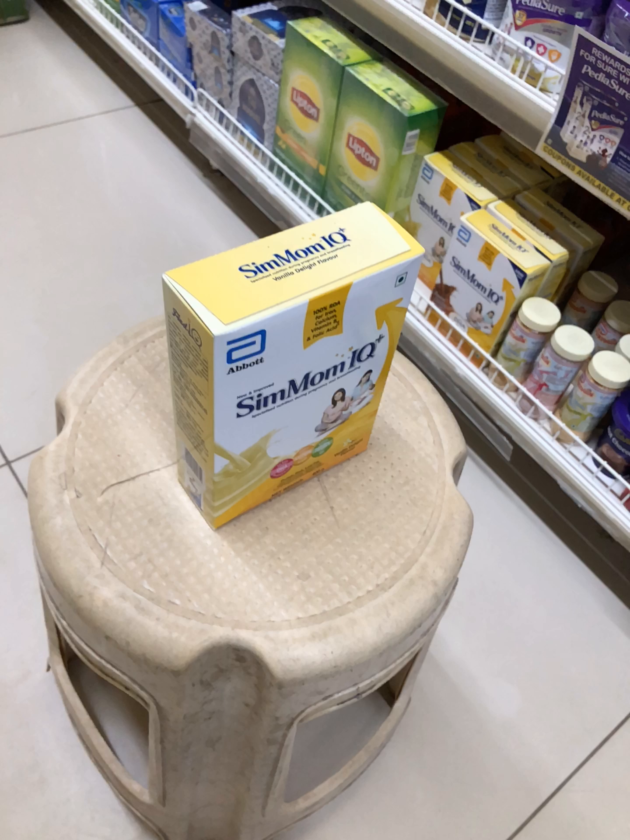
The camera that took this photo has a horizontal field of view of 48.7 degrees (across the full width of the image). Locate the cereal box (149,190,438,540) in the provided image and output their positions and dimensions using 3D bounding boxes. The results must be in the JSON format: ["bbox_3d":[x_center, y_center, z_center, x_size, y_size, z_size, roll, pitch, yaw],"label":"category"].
[{"bbox_3d":[-0.019,-0.024,0.426,0.141,0.199,0.050,-26,62,-24],"label":"cereal box"}]
